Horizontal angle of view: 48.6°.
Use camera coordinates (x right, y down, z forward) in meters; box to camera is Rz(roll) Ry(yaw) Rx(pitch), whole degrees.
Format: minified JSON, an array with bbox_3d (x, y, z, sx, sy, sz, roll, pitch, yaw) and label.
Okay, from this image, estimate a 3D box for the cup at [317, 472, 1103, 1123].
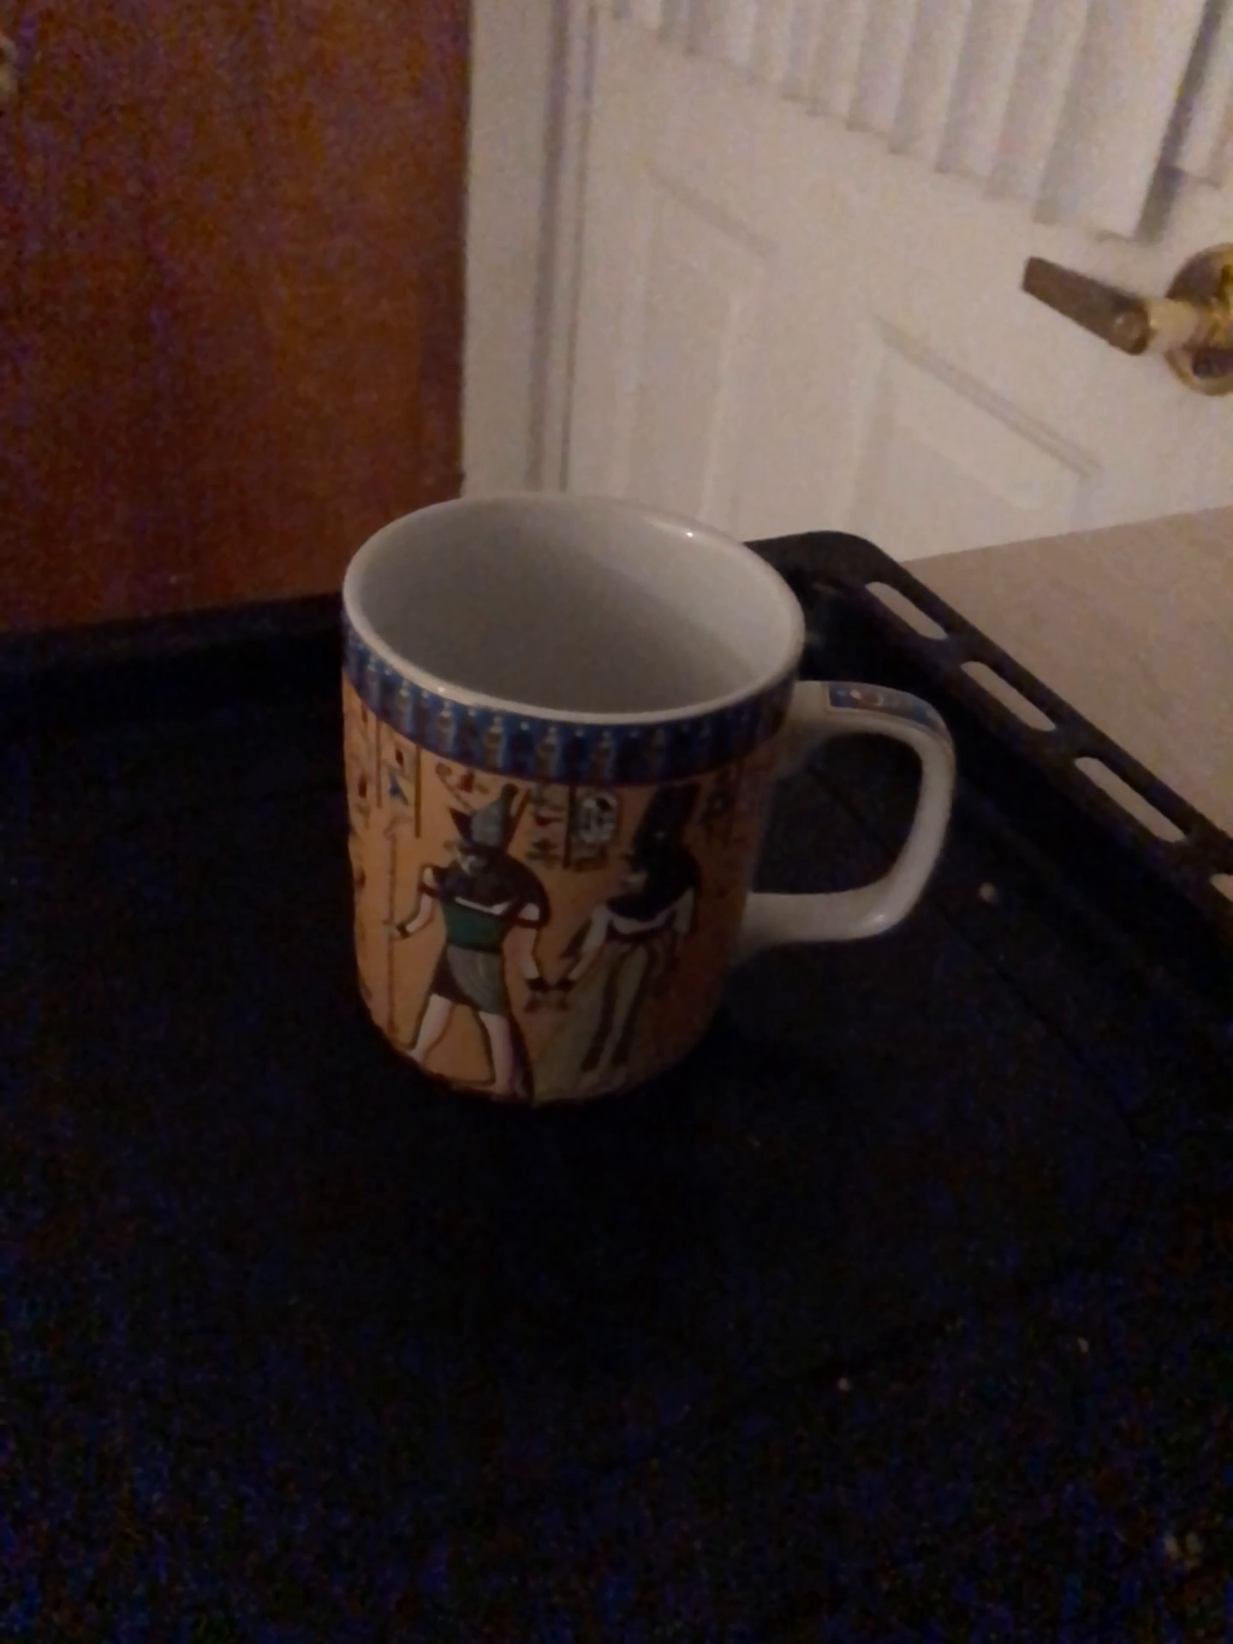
[{"bbox_3d":[0.010,-0.004,0.265,0.120,0.089,0.081,3,39,-5],"label":"cup"}]
